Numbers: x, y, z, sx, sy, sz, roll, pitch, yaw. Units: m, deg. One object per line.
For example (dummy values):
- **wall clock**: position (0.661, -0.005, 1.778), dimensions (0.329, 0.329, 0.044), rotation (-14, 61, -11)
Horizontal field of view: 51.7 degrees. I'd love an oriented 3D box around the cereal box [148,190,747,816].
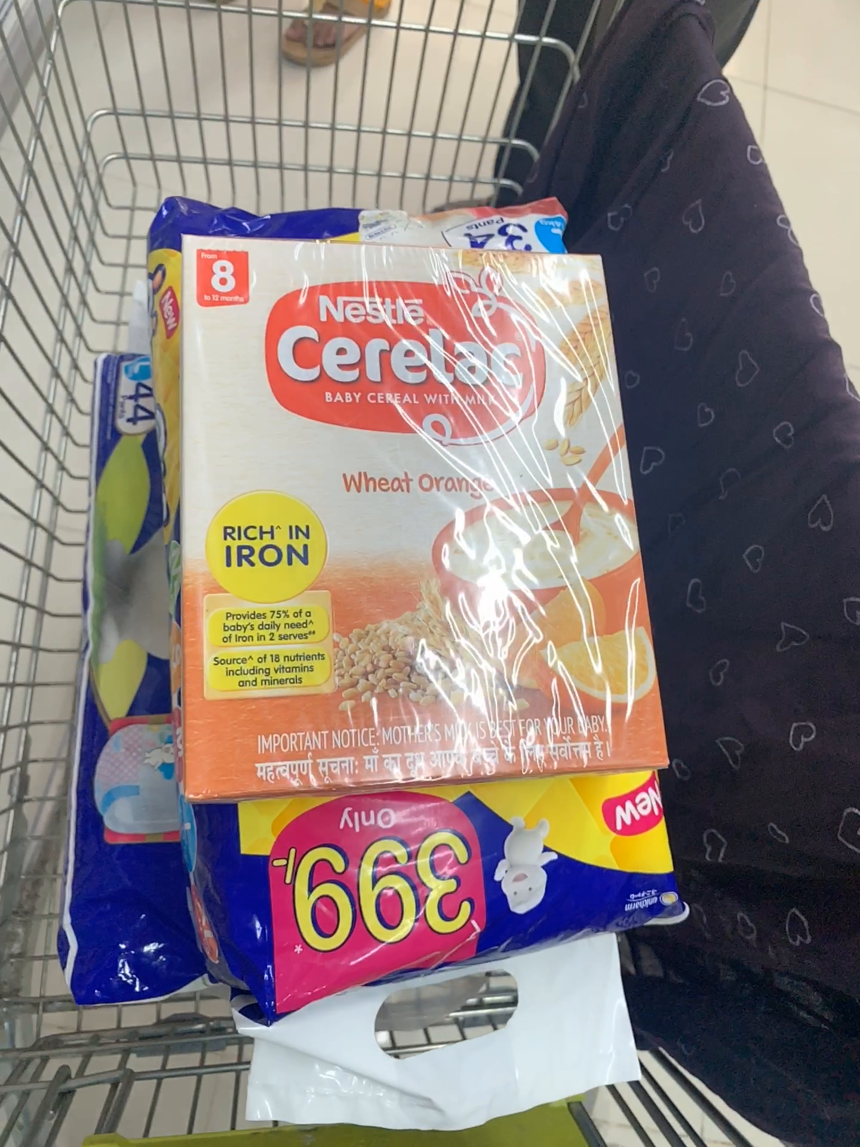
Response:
- **cereal box**: position (-0.001, -0.025, 0.294), dimensions (0.170, 0.050, 0.190), rotation (-2, 76, -10)
